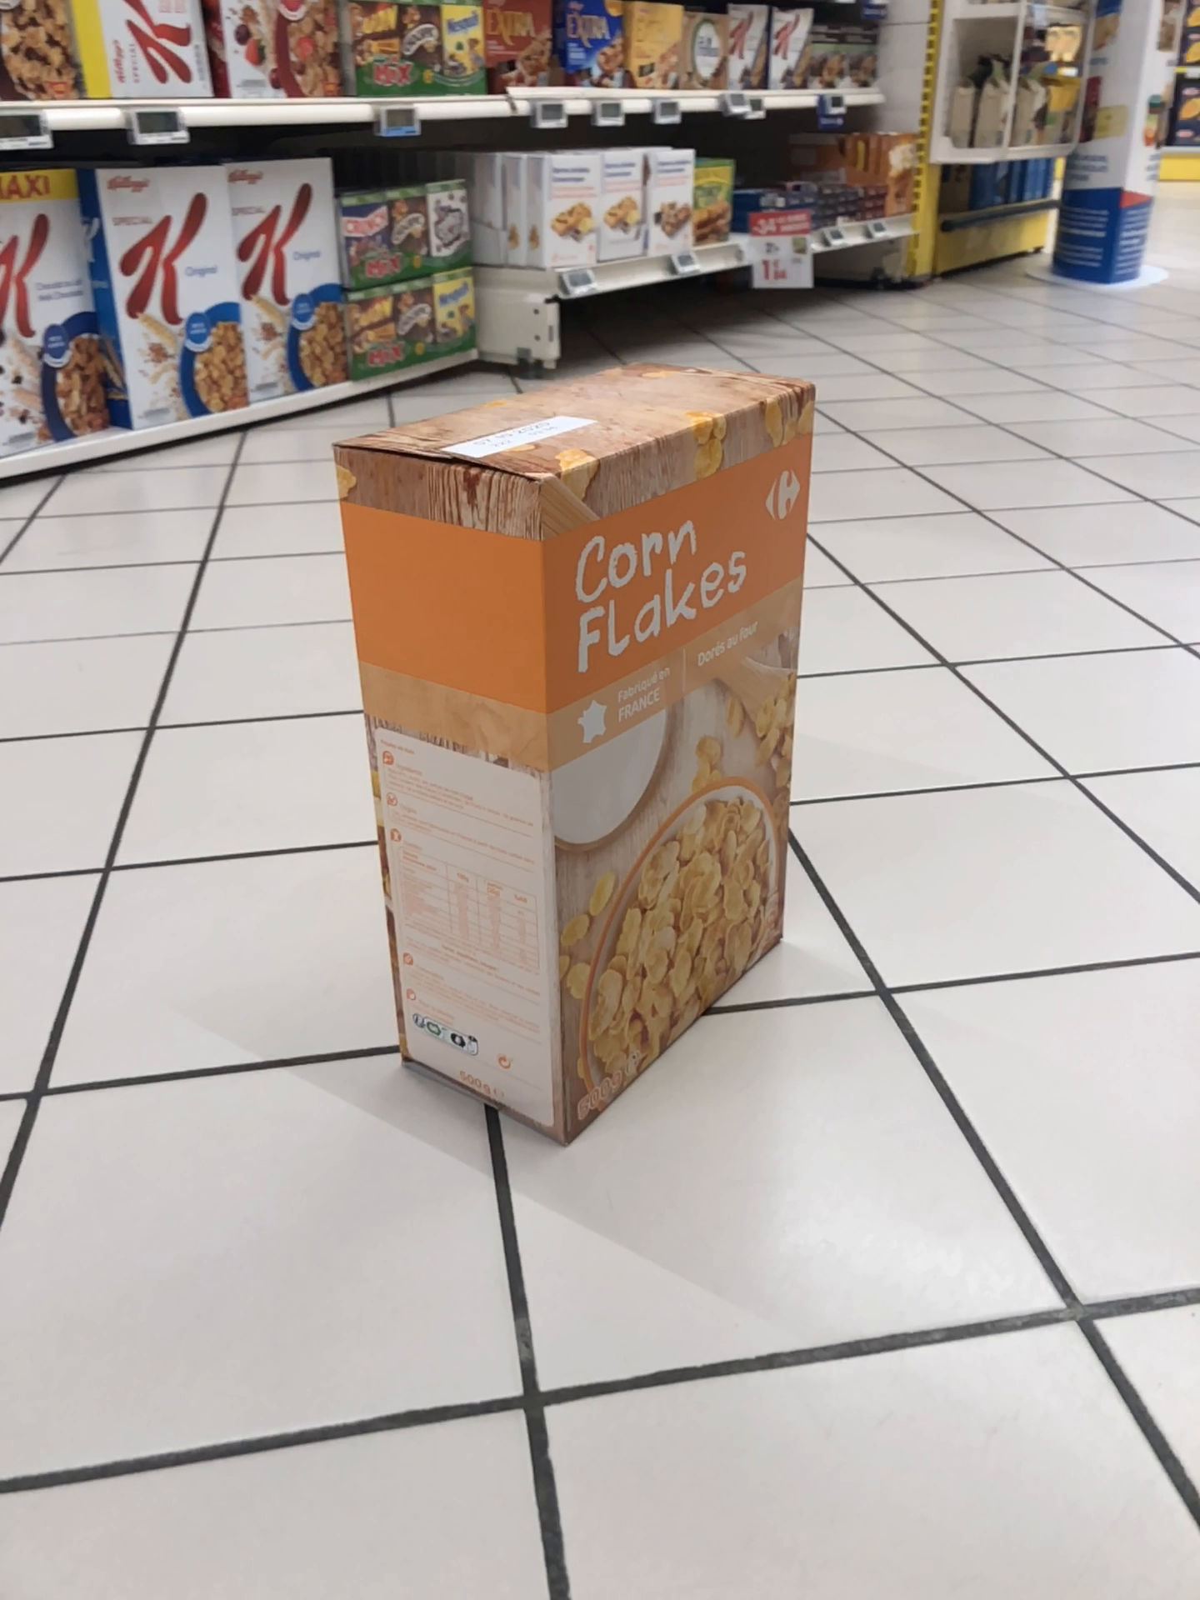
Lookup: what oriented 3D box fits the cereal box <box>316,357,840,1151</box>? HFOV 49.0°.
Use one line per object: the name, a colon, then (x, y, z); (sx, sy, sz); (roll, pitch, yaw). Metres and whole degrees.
cereal box: (0.002, -0.032, 0.581); (0.110, 0.278, 0.201); (17, 32, 31)
